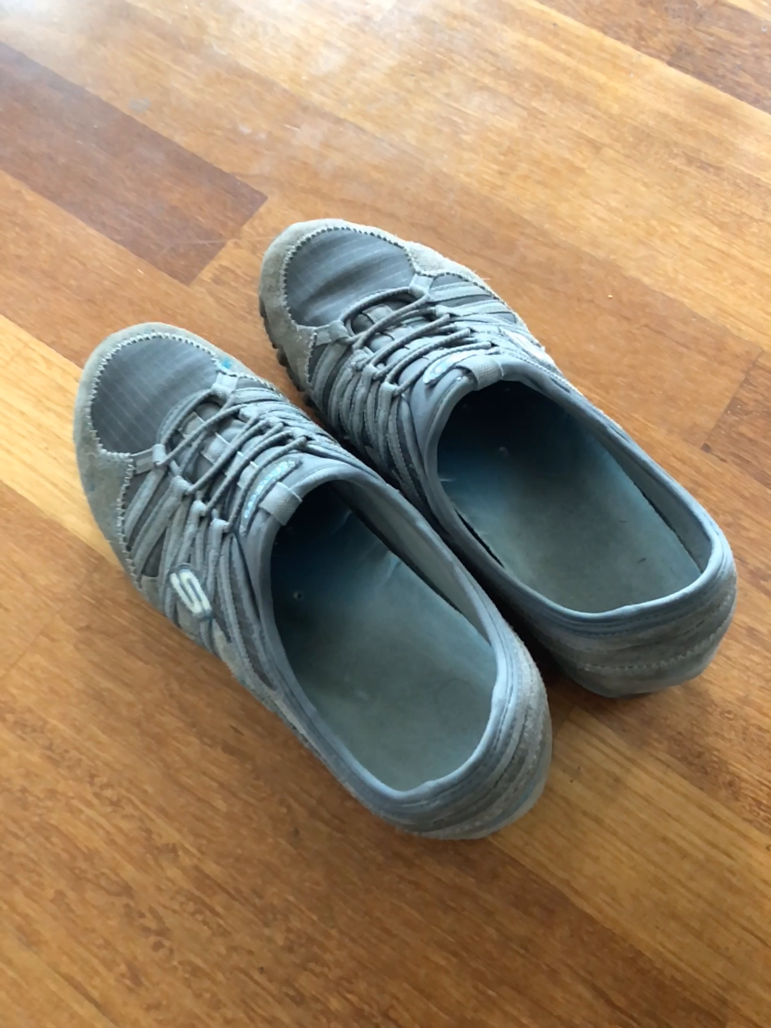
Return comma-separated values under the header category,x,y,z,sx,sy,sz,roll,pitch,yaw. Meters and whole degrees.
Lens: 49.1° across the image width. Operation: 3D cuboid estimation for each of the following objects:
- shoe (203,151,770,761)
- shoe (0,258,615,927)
category,x,y,z,sx,sy,sz,roll,pitch,yaw
shoe,0.039,-0.024,0.379,0.093,0.106,0.250,-38,74,-12
shoe,-0.038,0.029,0.364,0.096,0.106,0.253,-38,74,-12
